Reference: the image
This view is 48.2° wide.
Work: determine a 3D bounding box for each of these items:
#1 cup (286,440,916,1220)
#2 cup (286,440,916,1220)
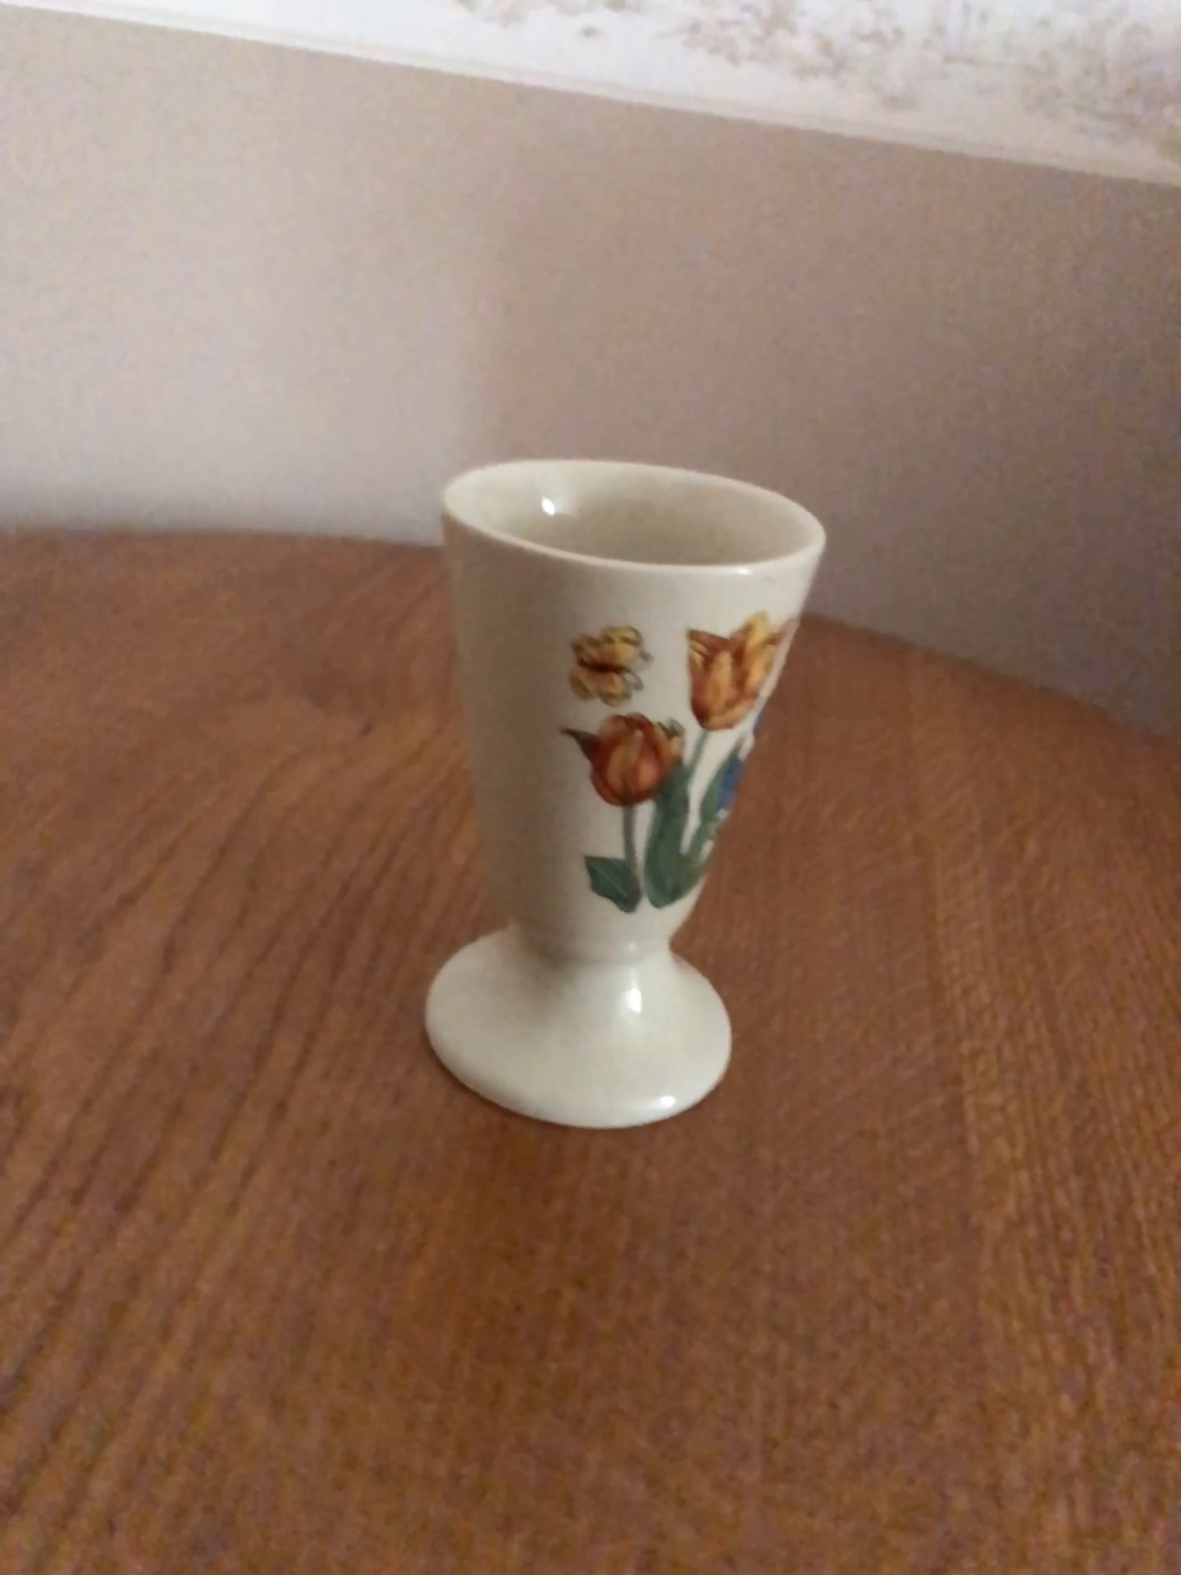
[{"bbox_3d":[-0.005,0.001,0.264,0.080,0.119,0.080,6,26,-3],"label":"cup"},{"bbox_3d":[-0.005,0.001,0.264,0.080,0.119,0.080,6,26,-3],"label":"cup"}]
